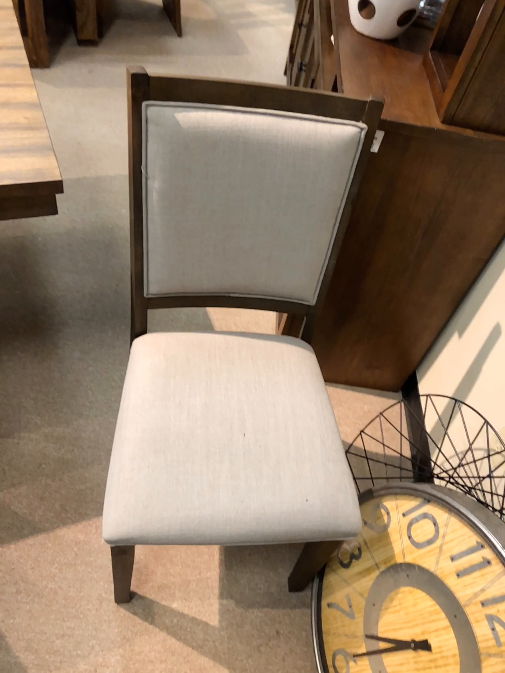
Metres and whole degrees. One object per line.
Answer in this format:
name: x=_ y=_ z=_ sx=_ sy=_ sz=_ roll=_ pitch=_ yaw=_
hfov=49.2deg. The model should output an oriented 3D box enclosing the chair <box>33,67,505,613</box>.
chair: x=-0.055 y=0.112 z=1.010 sx=0.460 sy=0.924 sz=0.493 roll=2 pitch=51 yaw=-10
